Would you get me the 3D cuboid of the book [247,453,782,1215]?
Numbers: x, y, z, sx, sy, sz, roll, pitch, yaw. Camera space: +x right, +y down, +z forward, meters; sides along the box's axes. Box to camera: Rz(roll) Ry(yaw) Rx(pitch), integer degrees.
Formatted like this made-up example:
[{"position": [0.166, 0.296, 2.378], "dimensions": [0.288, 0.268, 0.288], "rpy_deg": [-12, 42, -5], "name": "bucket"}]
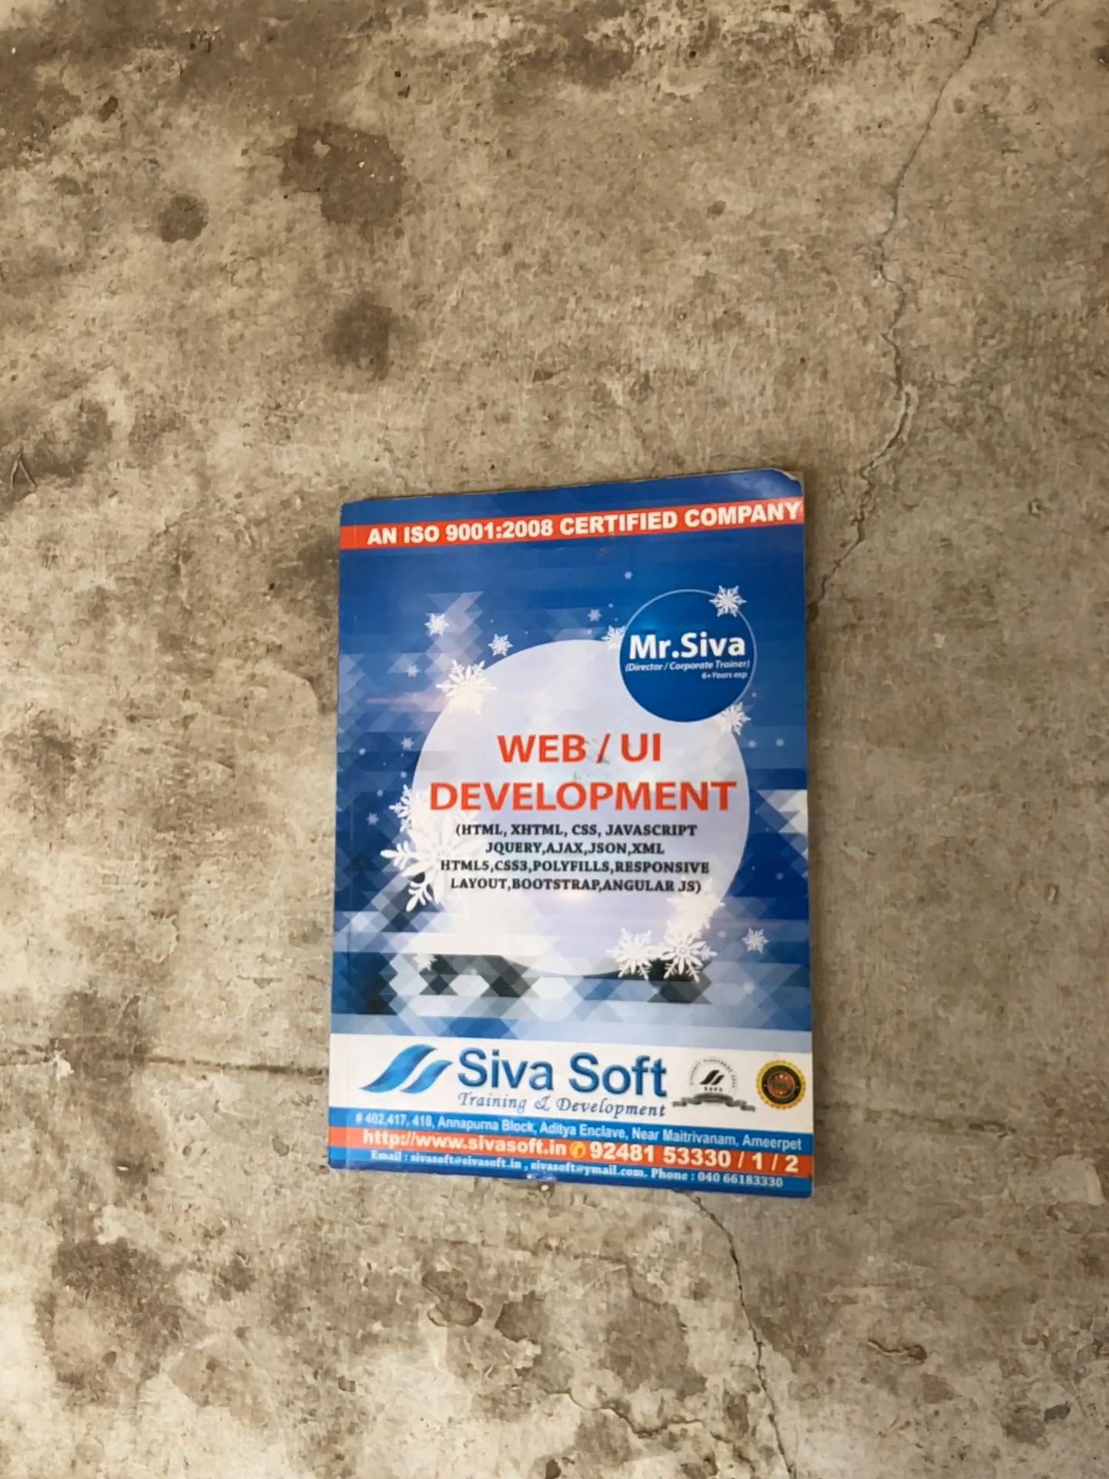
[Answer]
[{"position": [-0.017, 0.034, 0.496], "dimensions": [0.210, 0.030, 0.280], "rpy_deg": [-1, 85, 14], "name": "book"}]
